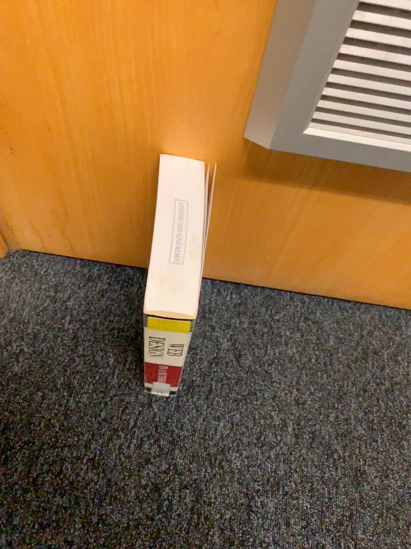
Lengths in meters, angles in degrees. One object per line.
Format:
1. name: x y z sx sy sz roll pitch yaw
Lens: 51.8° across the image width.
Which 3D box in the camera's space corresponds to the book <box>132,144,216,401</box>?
1. book: -0.034 0.015 0.437 0.050 0.228 0.171 7 60 -4
